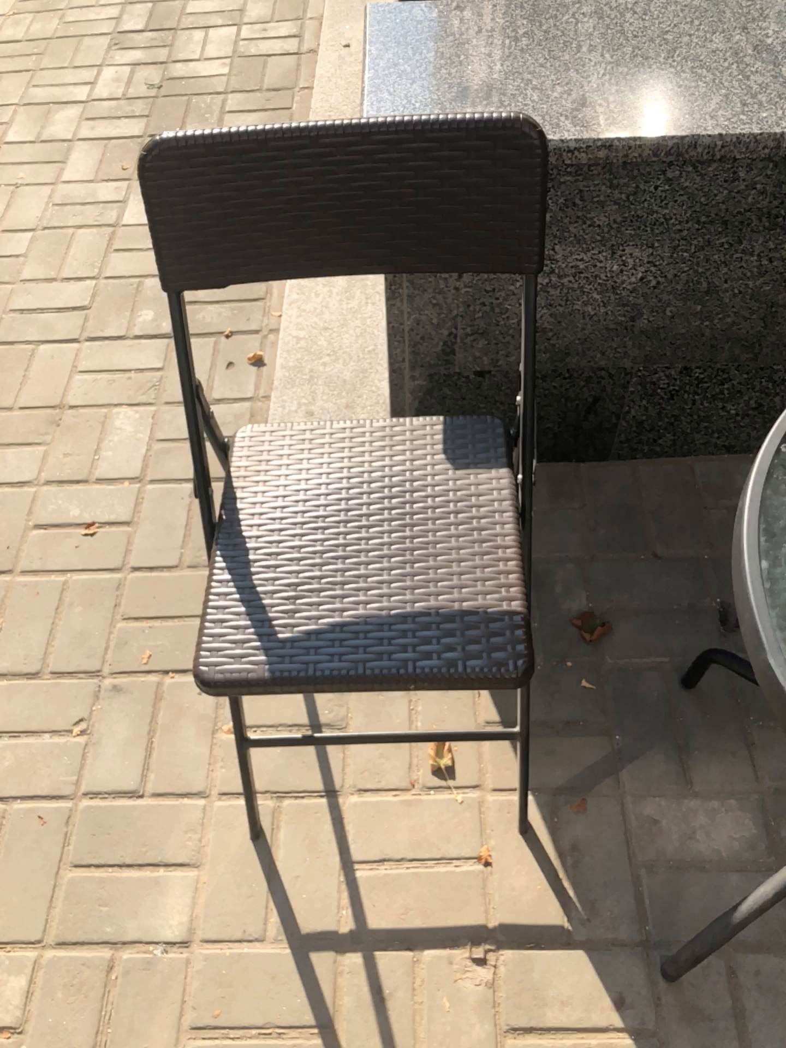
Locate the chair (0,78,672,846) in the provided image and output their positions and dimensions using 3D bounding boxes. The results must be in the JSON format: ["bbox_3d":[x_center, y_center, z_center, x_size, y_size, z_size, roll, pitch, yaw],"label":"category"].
[{"bbox_3d":[-0.038,0.010,0.993,0.430,0.788,0.461,-3,54,0],"label":"chair"}]
